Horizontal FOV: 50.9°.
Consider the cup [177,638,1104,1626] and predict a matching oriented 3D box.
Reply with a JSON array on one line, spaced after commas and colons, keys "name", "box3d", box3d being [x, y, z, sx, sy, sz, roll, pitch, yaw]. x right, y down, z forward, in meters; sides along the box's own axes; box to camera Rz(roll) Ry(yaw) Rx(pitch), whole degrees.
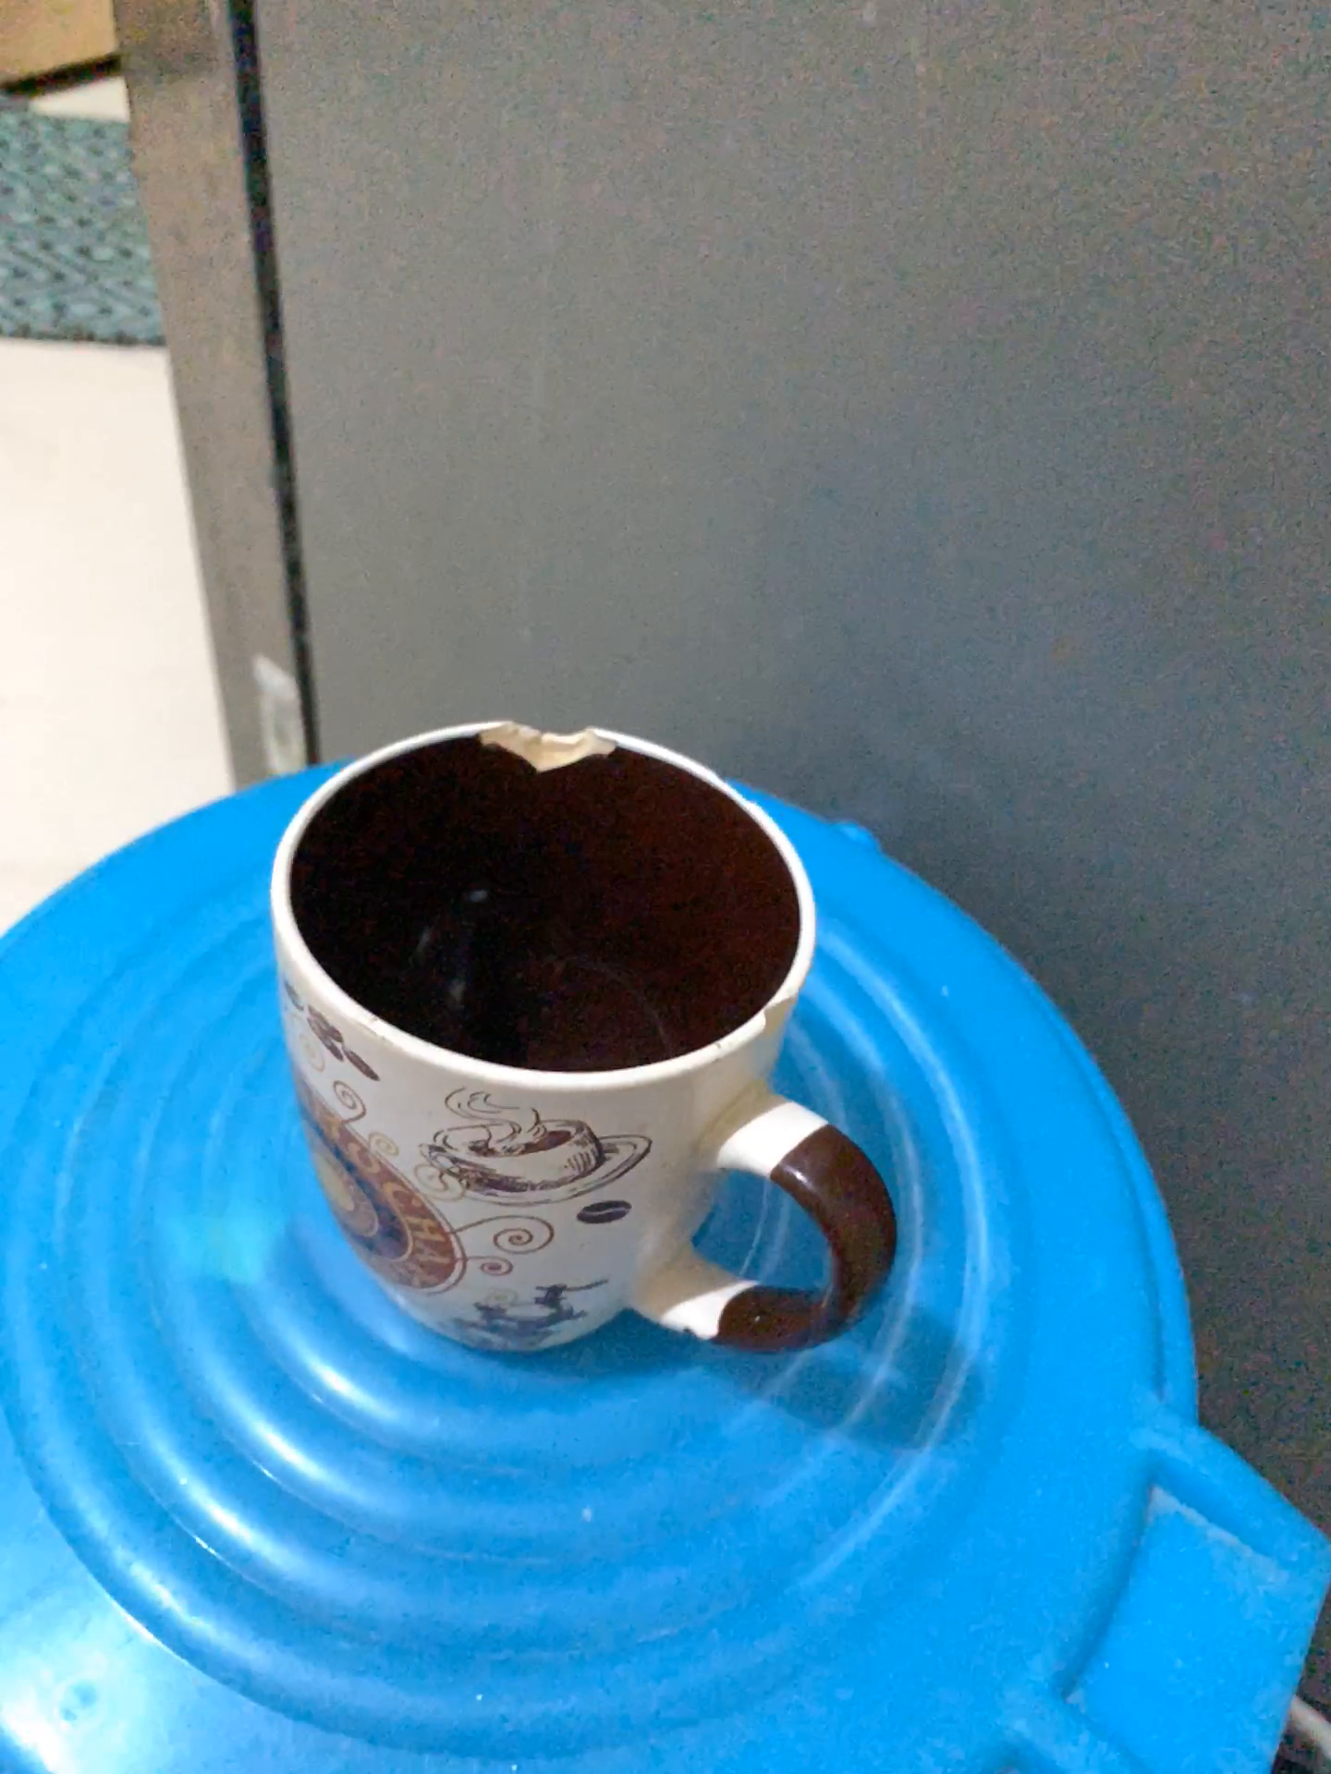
[{"name": "cup", "box3d": [-0.010, 0.032, 0.226, 0.080, 0.079, 0.110, -28, 55, -35]}]
